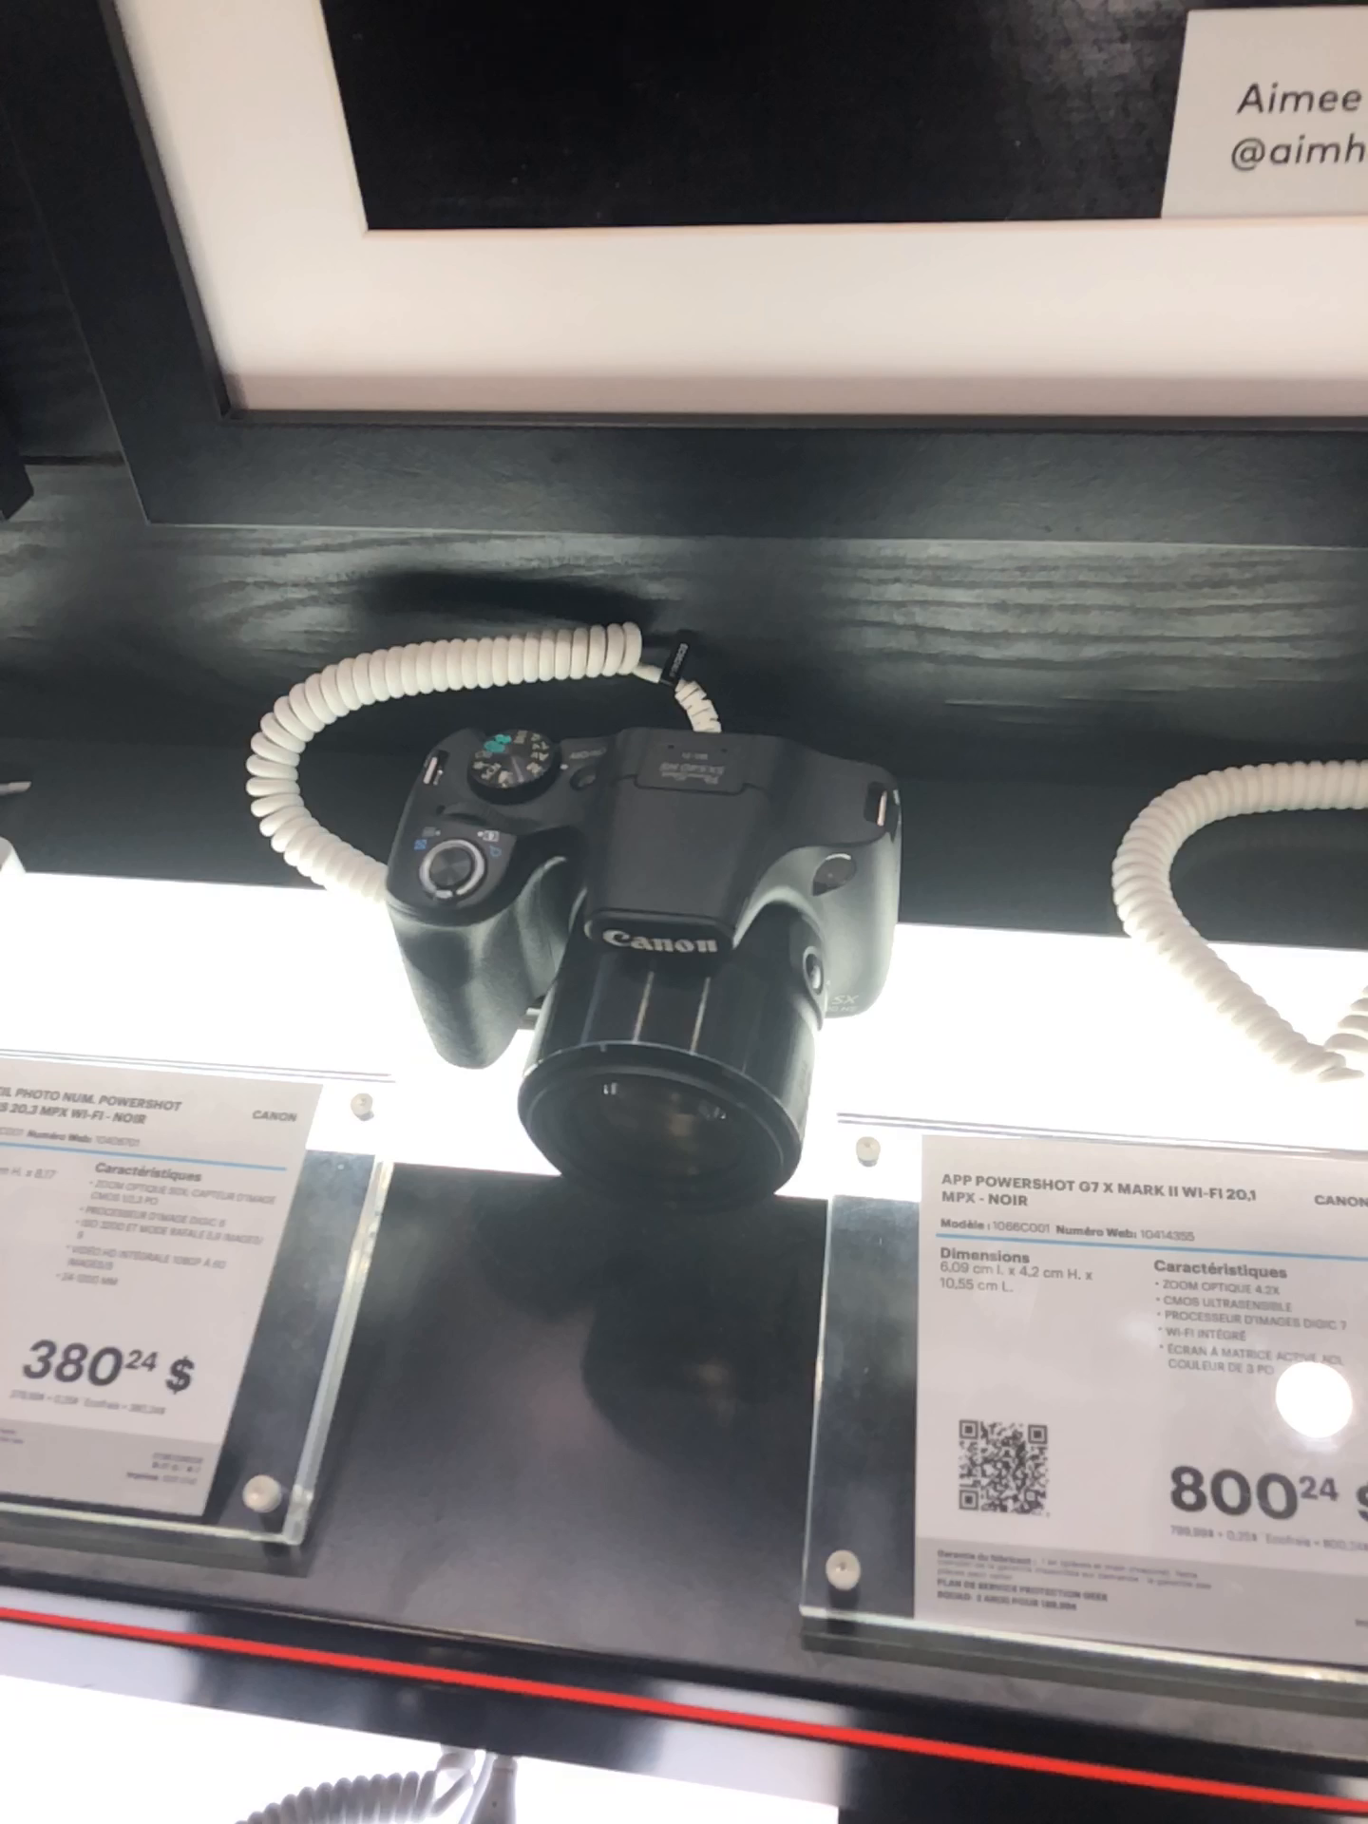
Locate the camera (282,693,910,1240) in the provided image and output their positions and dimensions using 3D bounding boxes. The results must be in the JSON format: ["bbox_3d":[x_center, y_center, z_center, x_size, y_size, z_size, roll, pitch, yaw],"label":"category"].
[{"bbox_3d":[-0.012,0.013,0.352,0.122,0.099,0.071,3,43,9],"label":"camera"}]
